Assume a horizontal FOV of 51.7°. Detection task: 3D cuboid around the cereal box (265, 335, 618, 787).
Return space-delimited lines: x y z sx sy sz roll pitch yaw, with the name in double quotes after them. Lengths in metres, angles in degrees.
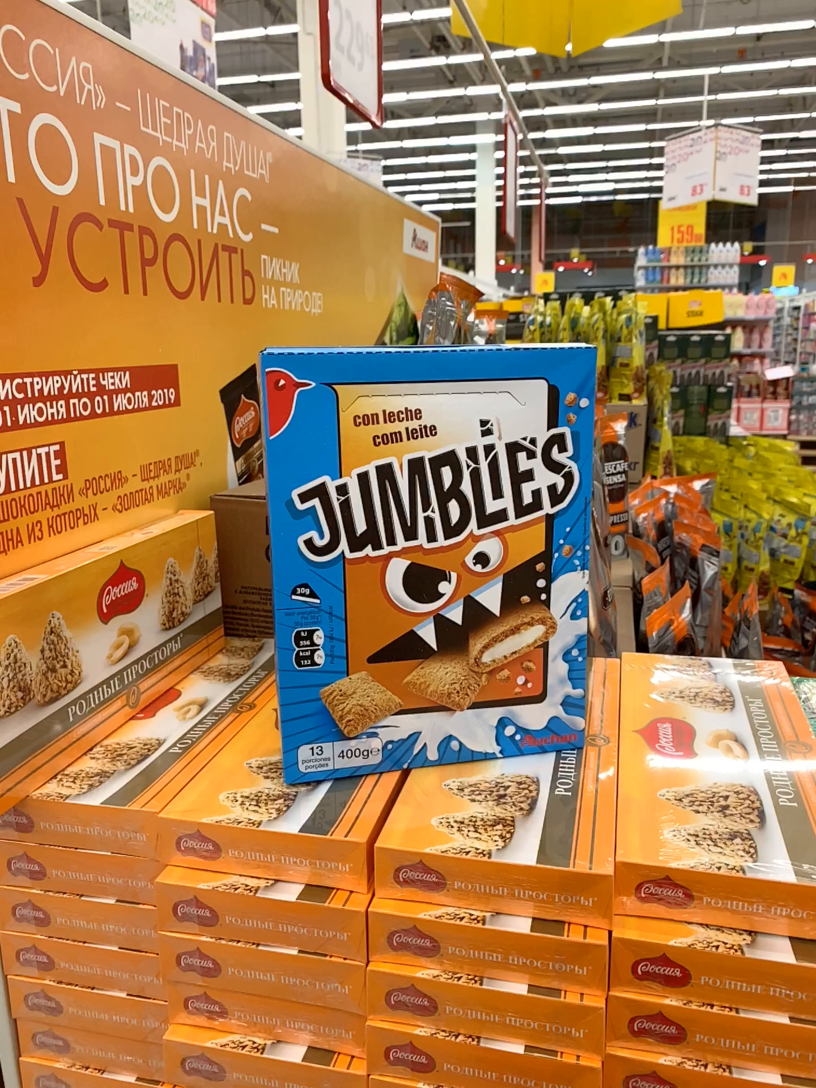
0.021 0.006 0.524 0.200 0.259 0.060 -4 13 -12 "cereal box"
